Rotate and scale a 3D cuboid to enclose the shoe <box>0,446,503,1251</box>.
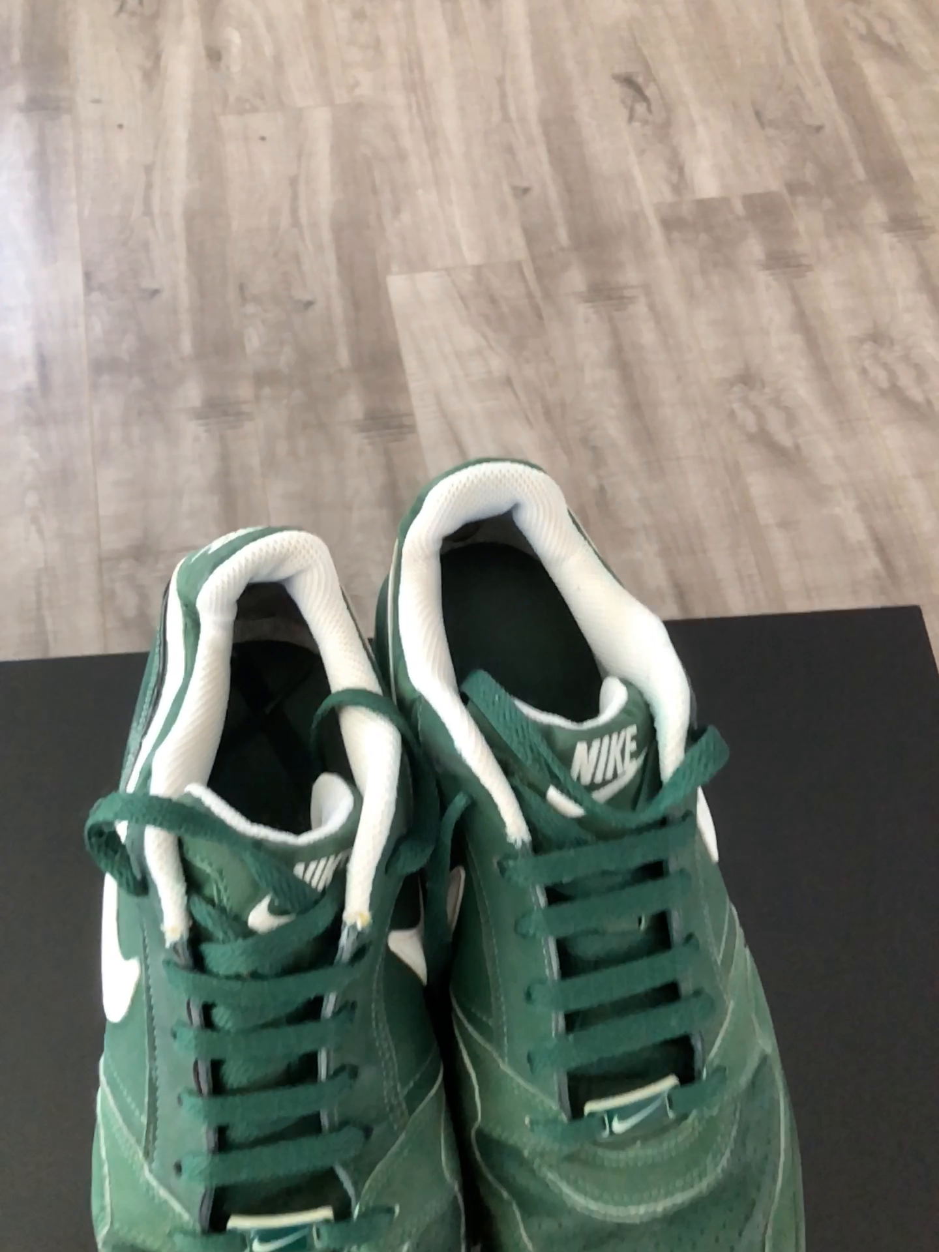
[{"bbox_3d":[-0.061,0.105,0.292,0.100,0.100,0.292,-4,70,-6],"label":"shoe"}]

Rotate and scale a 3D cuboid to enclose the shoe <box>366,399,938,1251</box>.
[{"bbox_3d":[0.041,0.087,0.298,0.110,0.100,0.280,-6,70,-6],"label":"shoe"}]
